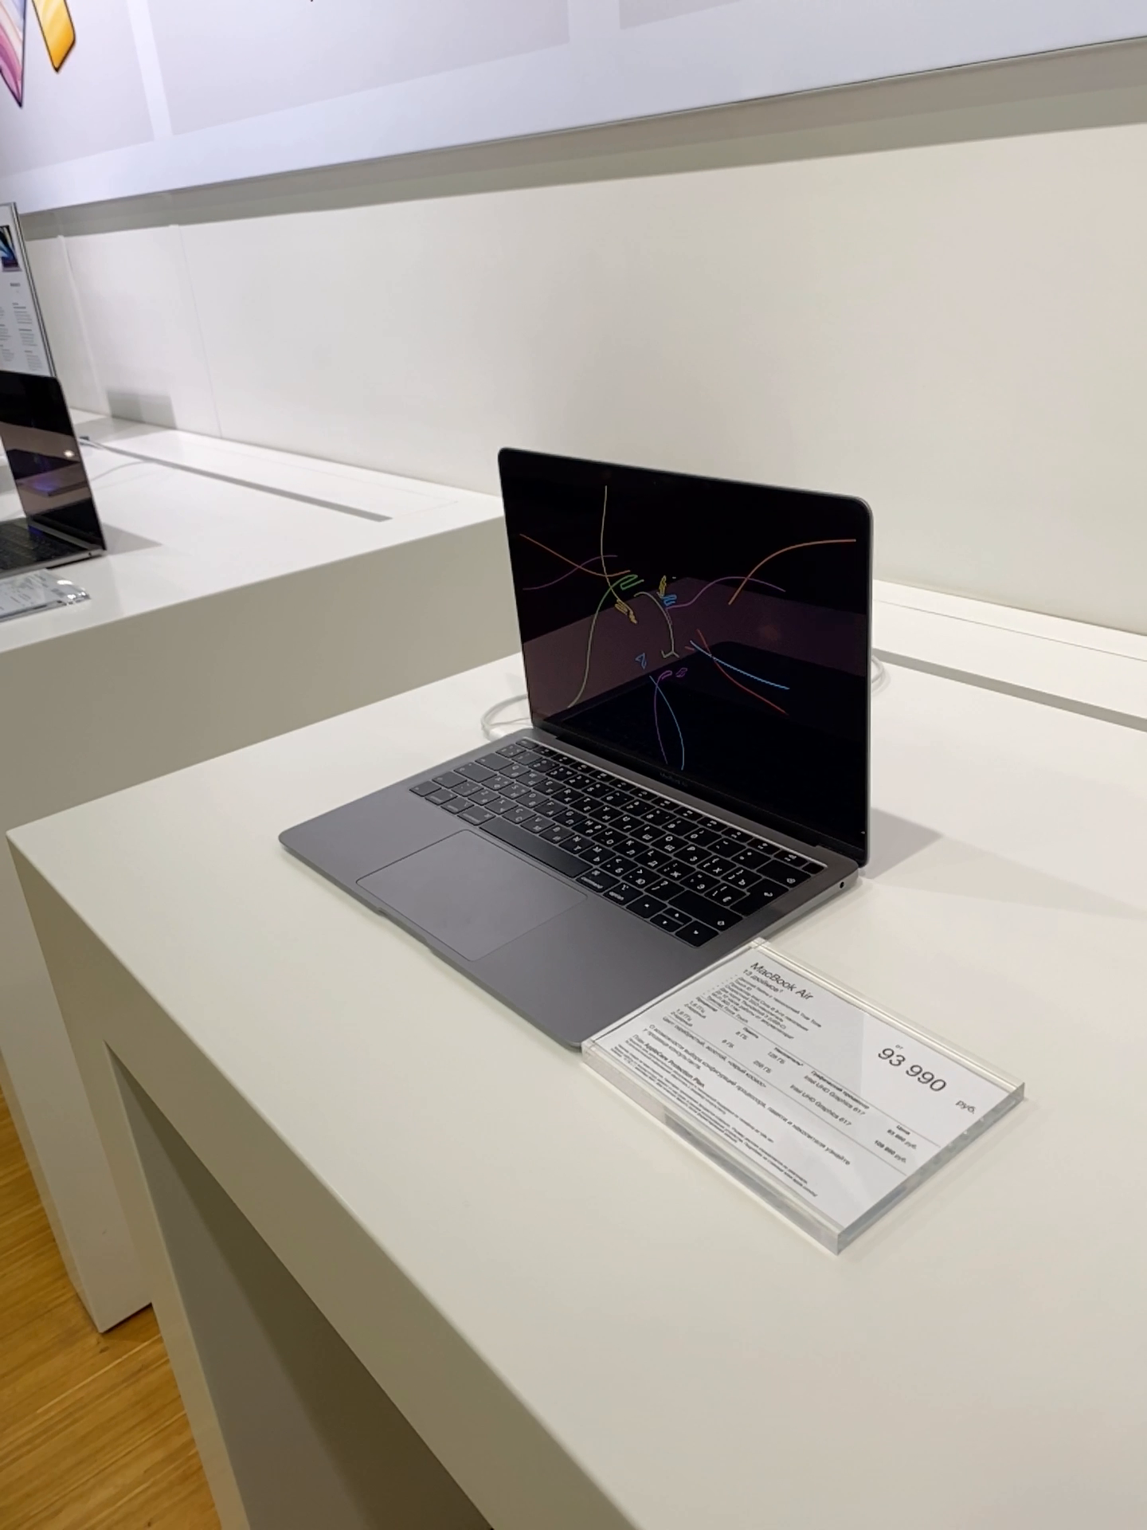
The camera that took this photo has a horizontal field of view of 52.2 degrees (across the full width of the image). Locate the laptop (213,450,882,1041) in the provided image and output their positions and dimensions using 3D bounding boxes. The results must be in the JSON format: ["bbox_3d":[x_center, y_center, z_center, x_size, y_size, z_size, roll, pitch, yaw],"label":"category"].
[{"bbox_3d":[-0.019,-0.044,0.676,0.225,0.211,0.303,-23,30,-34],"label":"laptop"}]
